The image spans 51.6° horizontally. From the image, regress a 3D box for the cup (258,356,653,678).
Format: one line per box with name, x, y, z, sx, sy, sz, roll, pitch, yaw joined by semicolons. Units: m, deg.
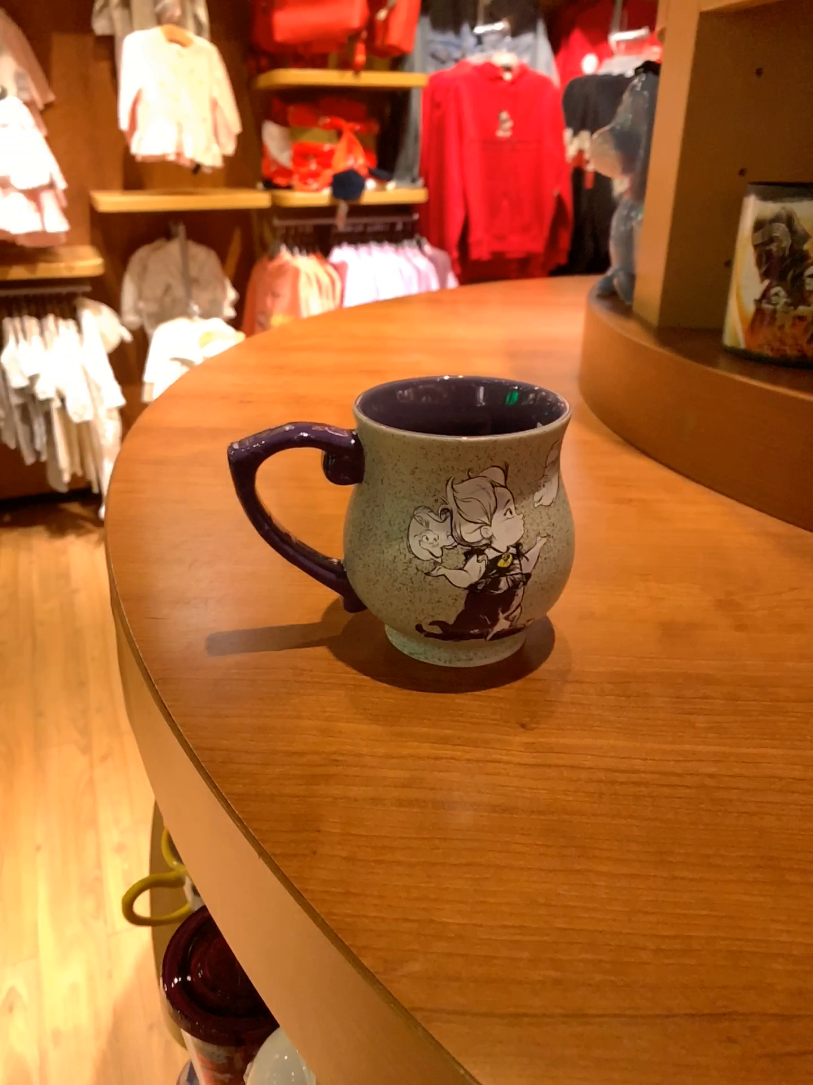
cup;0.014;-0.018;0.369;0.140;0.099;0.115;-1;25;-4
